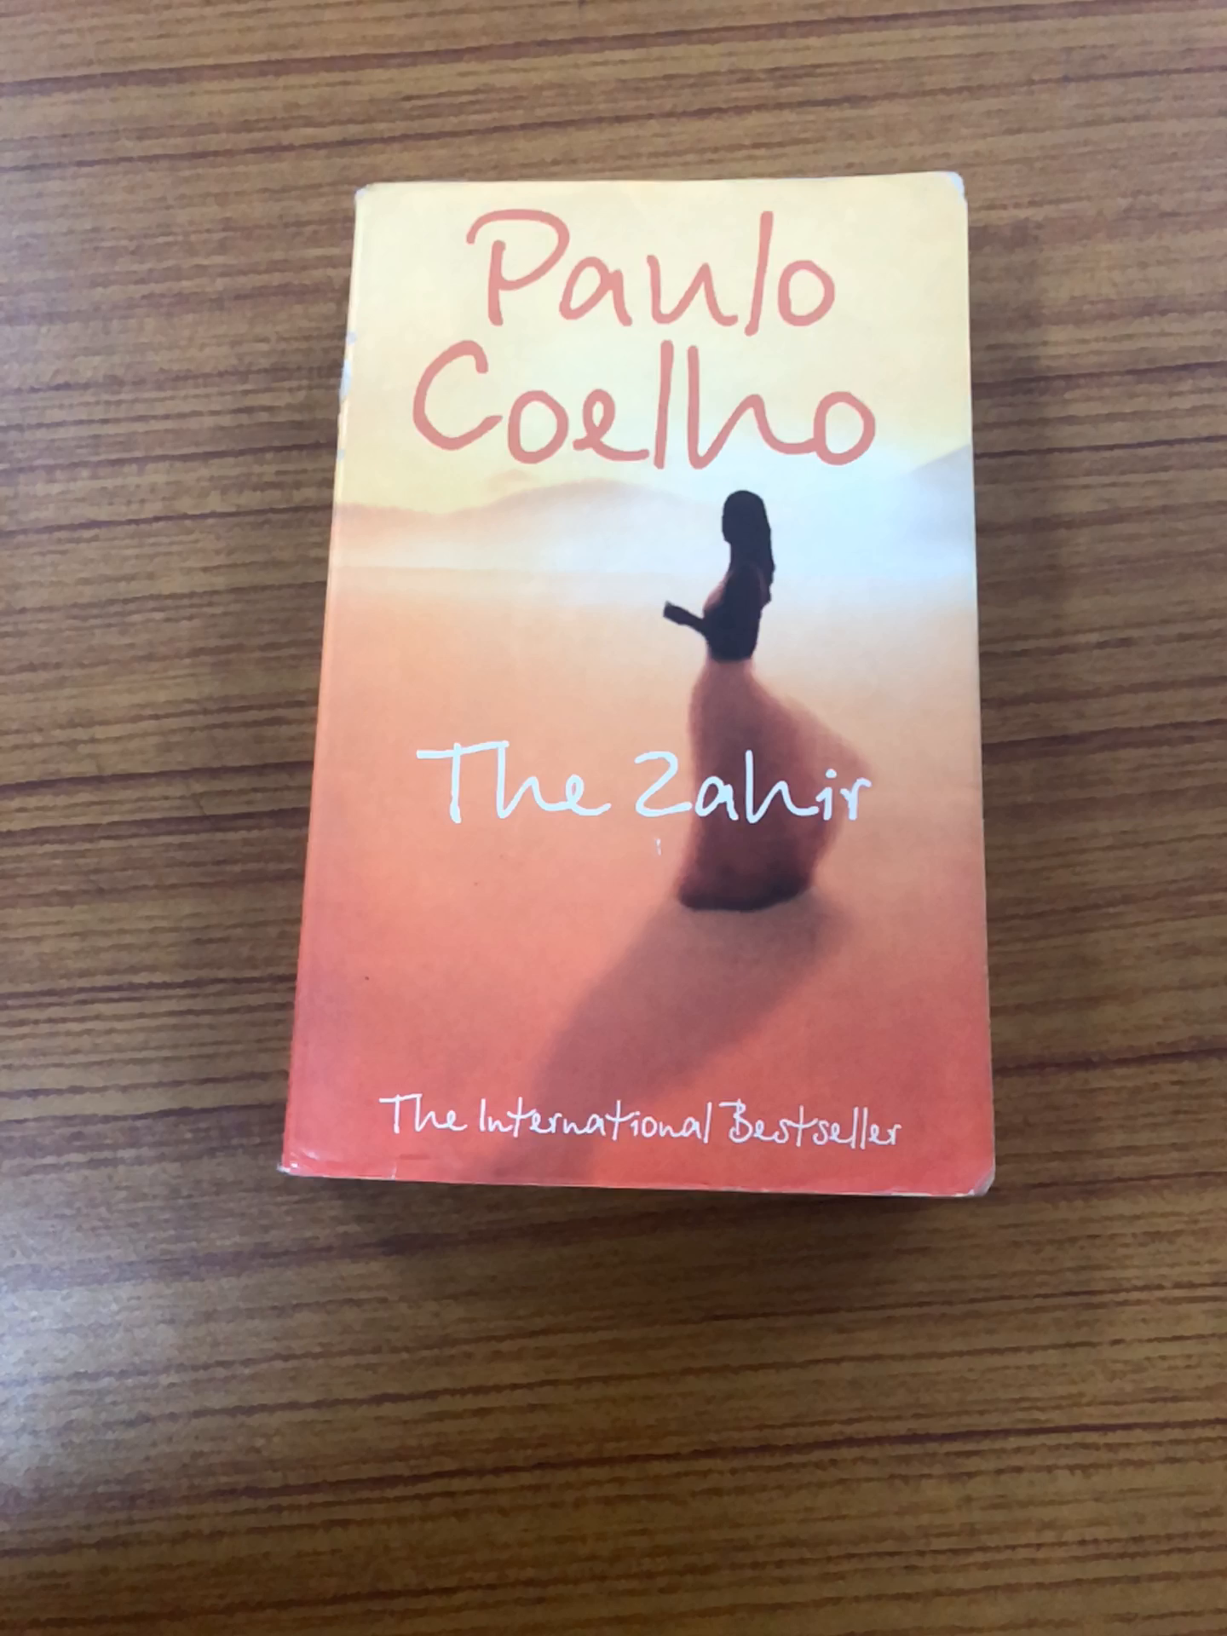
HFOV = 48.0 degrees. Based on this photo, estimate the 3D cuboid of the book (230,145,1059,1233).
[{"bbox_3d":[0.007,-0.025,0.239,0.120,0.040,0.180,1,77,2],"label":"book"}]
